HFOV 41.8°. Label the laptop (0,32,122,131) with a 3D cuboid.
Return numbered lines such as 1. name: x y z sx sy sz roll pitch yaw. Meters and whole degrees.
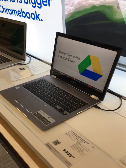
1. laptop: -0.038 -0.036 0.597 0.296 0.202 0.294 -28 43 -30
